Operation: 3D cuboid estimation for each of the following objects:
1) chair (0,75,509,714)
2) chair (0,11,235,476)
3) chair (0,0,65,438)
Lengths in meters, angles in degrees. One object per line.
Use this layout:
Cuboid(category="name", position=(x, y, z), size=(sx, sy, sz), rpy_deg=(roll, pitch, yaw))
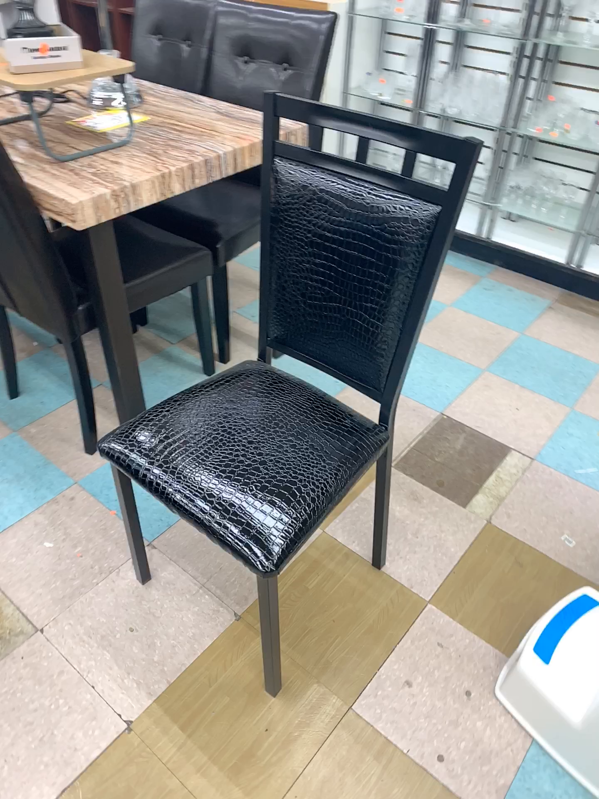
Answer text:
Cuboid(category="chair", position=(-0.056, 0.013, 1.108), size=(0.462, 0.943, 0.506), rpy_deg=(29, 47, 29))
Cuboid(category="chair", position=(-0.593, -0.411, 1.591), size=(0.532, 0.923, 0.596), rpy_deg=(27, 46, 27))
Cuboid(category="chair", position=(-1.296, -0.576, 1.844), size=(0.562, 1.072, 0.677), rpy_deg=(27, 46, 27))
